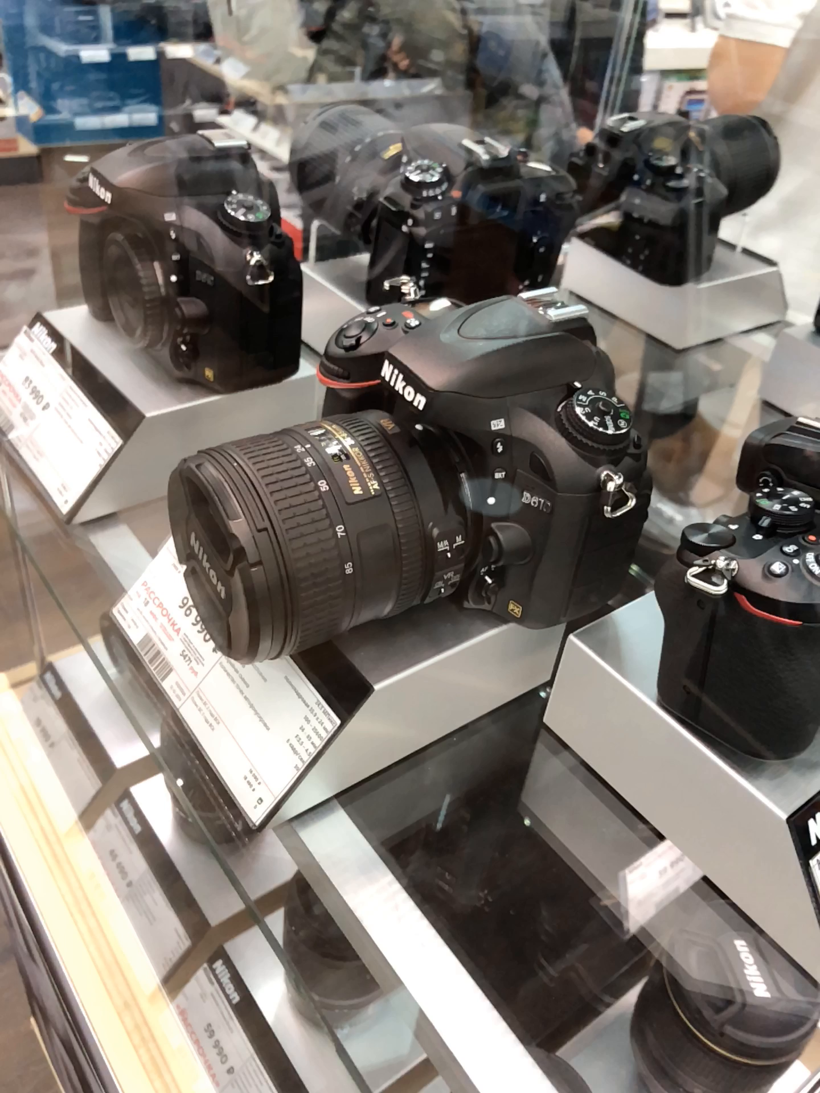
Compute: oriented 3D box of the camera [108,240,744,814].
[{"bbox_3d":[-0.006,-0.023,0.324,0.150,0.109,0.148,-15,43,-27],"label":"camera"}]
